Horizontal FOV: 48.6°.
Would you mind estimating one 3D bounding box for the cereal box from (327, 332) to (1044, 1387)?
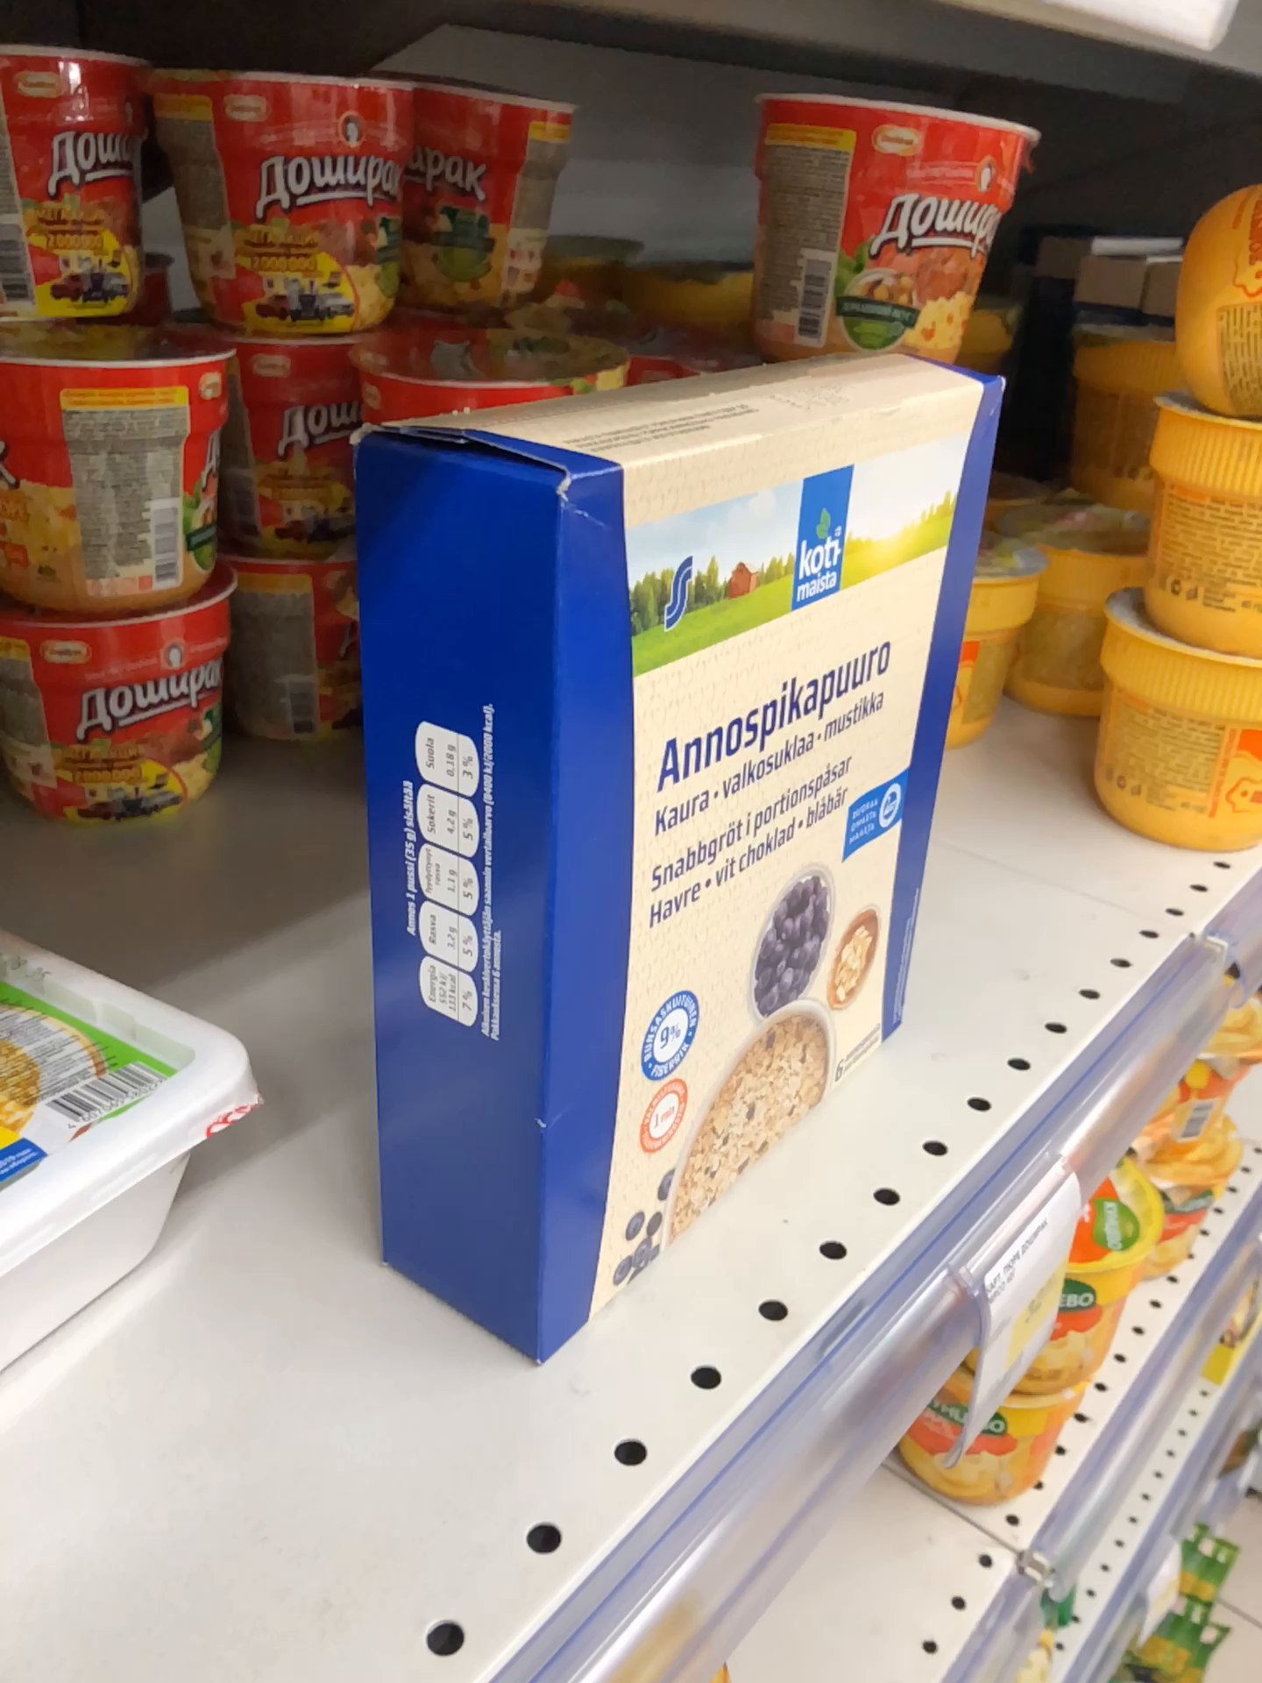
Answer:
[{"bbox_3d":[0.018,-0.009,0.310,0.050,0.179,0.171,21,32,31],"label":"cereal box"}]
